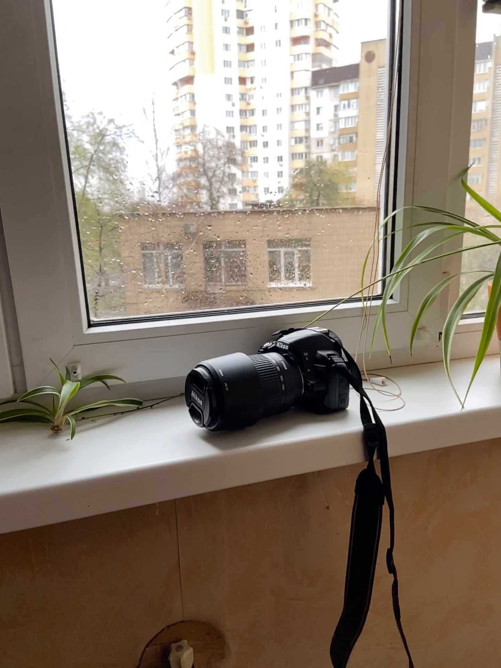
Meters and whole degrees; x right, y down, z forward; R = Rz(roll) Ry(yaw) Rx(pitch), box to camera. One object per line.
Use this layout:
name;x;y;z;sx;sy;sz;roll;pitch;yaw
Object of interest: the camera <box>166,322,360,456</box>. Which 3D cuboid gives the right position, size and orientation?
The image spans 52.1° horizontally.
camera;0.016;0.053;0.610;0.190;0.089;0.125;-11;17;-32
